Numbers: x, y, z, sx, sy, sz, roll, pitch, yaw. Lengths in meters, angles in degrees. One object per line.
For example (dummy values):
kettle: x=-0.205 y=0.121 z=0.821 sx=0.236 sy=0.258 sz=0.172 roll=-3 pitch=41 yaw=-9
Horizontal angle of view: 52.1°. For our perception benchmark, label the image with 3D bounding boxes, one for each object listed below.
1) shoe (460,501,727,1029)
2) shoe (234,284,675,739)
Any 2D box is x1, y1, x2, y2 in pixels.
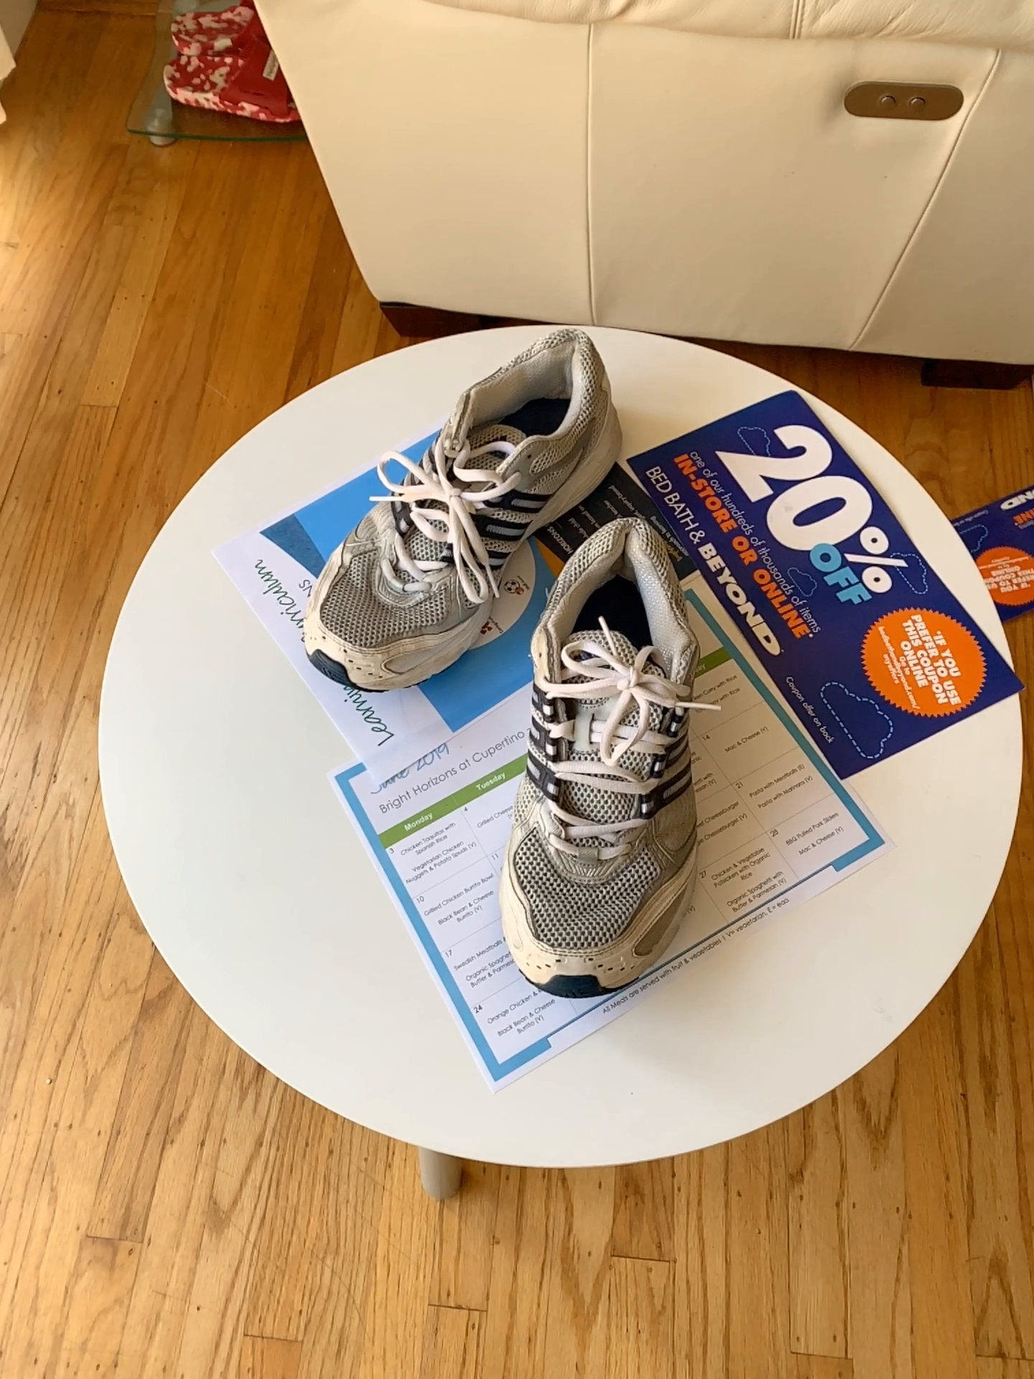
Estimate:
shoe: x=0.049 y=0.036 z=0.603 sx=0.120 sy=0.080 sz=0.280 roll=5 pitch=65 yaw=4
shoe: x=-0.030 y=-0.118 z=0.666 sx=0.110 sy=0.080 sz=0.280 roll=35 pitch=70 yaw=16
